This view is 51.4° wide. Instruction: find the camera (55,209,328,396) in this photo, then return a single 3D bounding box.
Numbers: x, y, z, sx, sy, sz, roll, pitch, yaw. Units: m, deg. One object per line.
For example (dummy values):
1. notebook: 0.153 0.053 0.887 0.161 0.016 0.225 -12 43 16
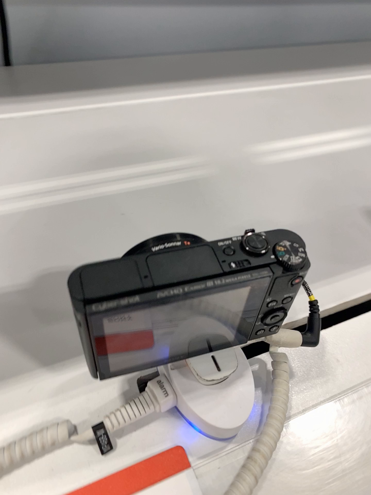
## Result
1. camera: 0.001 0.023 0.175 0.104 0.052 0.040 -10 49 -18
